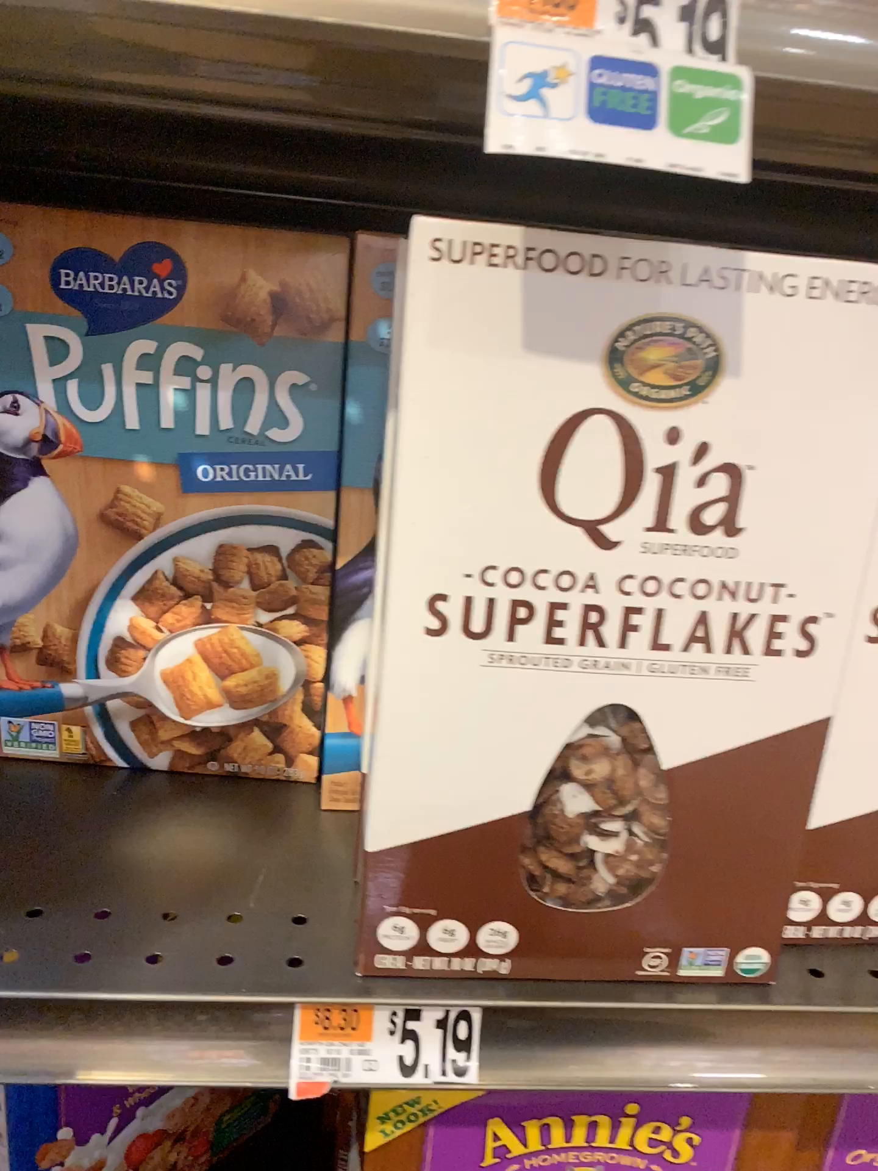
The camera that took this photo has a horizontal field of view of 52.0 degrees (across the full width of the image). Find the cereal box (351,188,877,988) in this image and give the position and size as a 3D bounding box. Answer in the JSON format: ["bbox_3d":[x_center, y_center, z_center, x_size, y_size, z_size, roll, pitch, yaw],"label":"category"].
[{"bbox_3d":[0.058,0.011,0.320,0.160,0.259,0.060,4,16,-6],"label":"cereal box"}]
